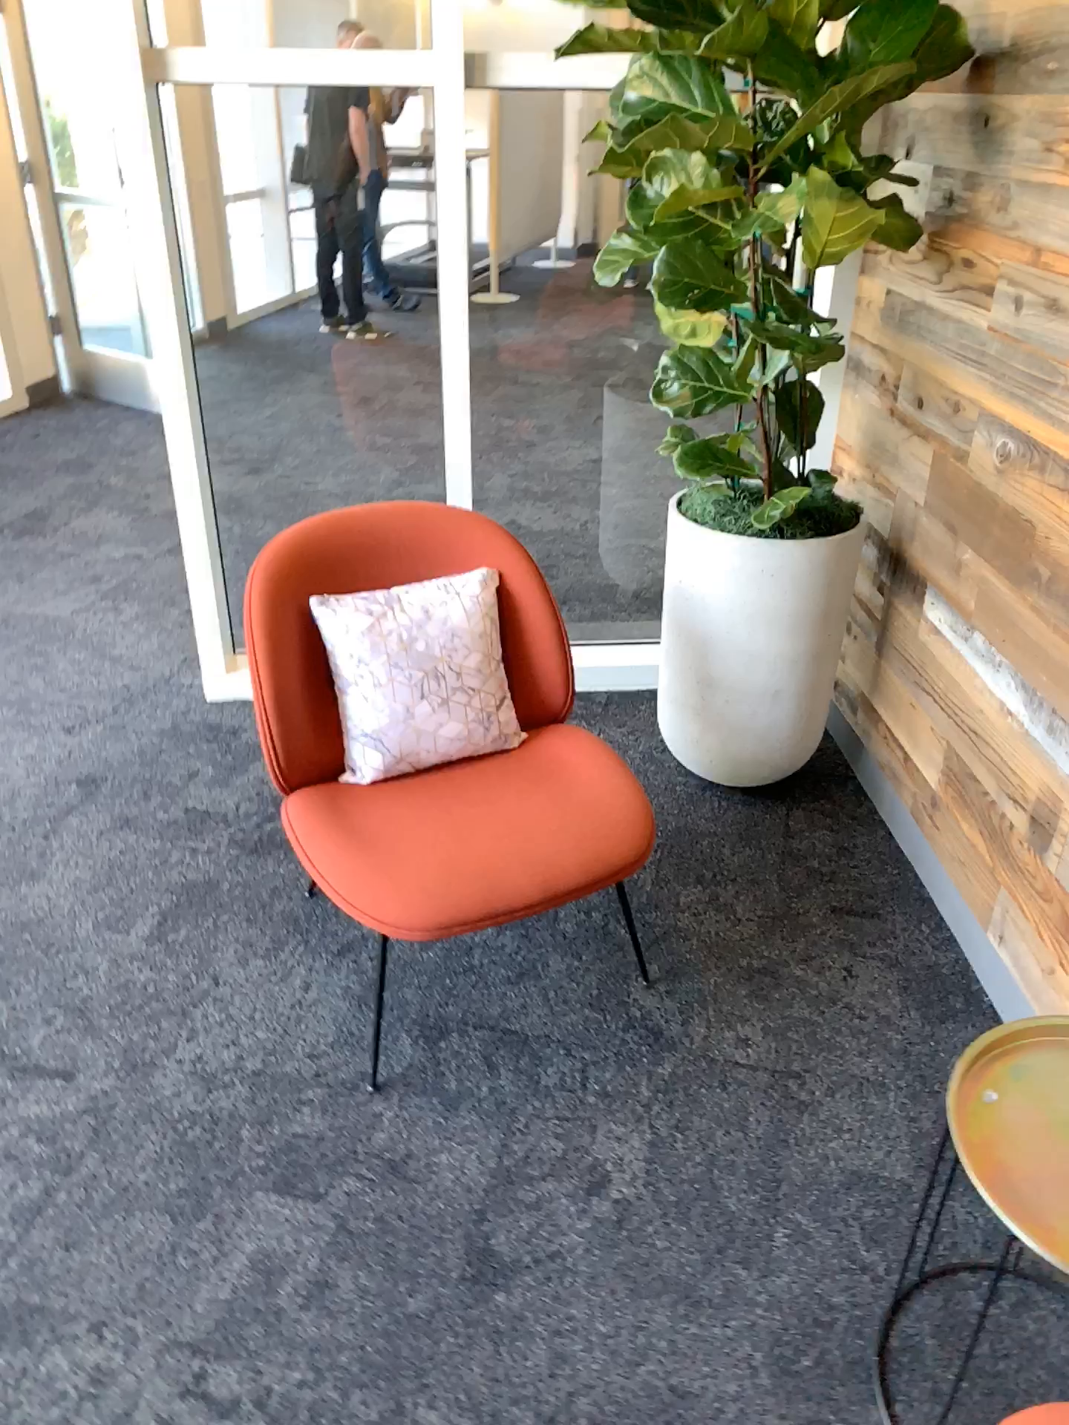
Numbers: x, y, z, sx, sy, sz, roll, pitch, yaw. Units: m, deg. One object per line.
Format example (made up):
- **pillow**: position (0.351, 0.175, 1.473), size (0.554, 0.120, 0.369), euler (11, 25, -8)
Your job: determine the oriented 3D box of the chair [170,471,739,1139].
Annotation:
- **chair**: position (-0.169, 0.100, 1.944), size (0.700, 0.795, 0.704), euler (-13, 32, -22)
